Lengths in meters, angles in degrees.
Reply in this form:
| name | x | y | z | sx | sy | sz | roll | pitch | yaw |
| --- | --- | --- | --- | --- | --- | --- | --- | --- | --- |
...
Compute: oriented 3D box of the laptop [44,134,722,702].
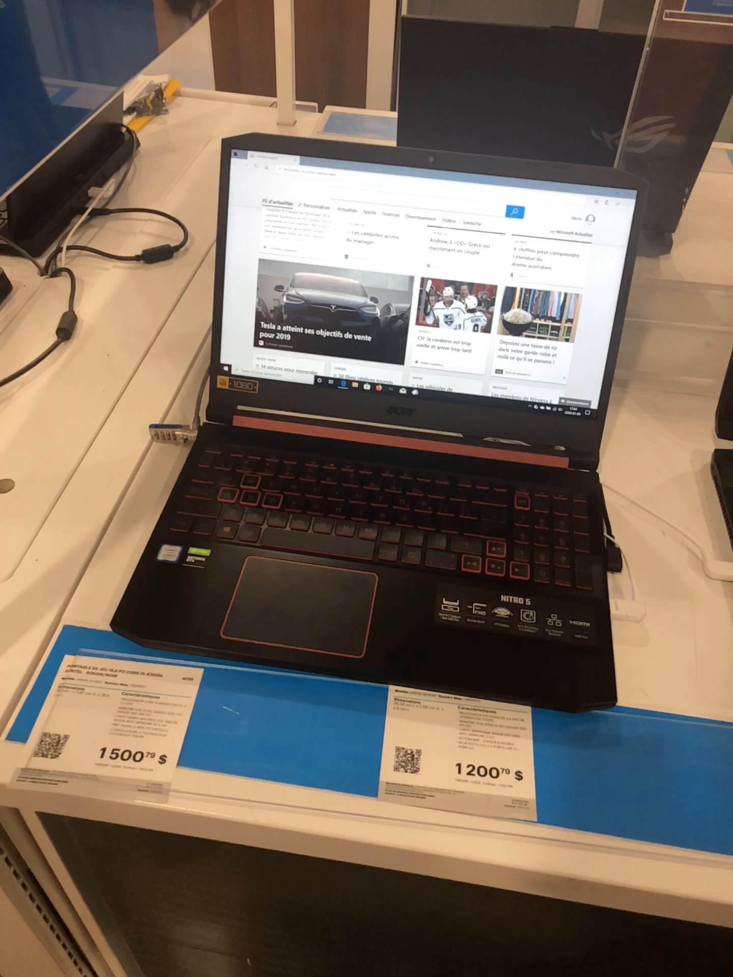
| name | x | y | z | sx | sy | sz | roll | pitch | yaw |
| --- | --- | --- | --- | --- | --- | --- | --- | --- | --- |
| laptop | 0.025 | -0.078 | 0.617 | 0.357 | 0.211 | 0.360 | 7 | 45 | 5 |
